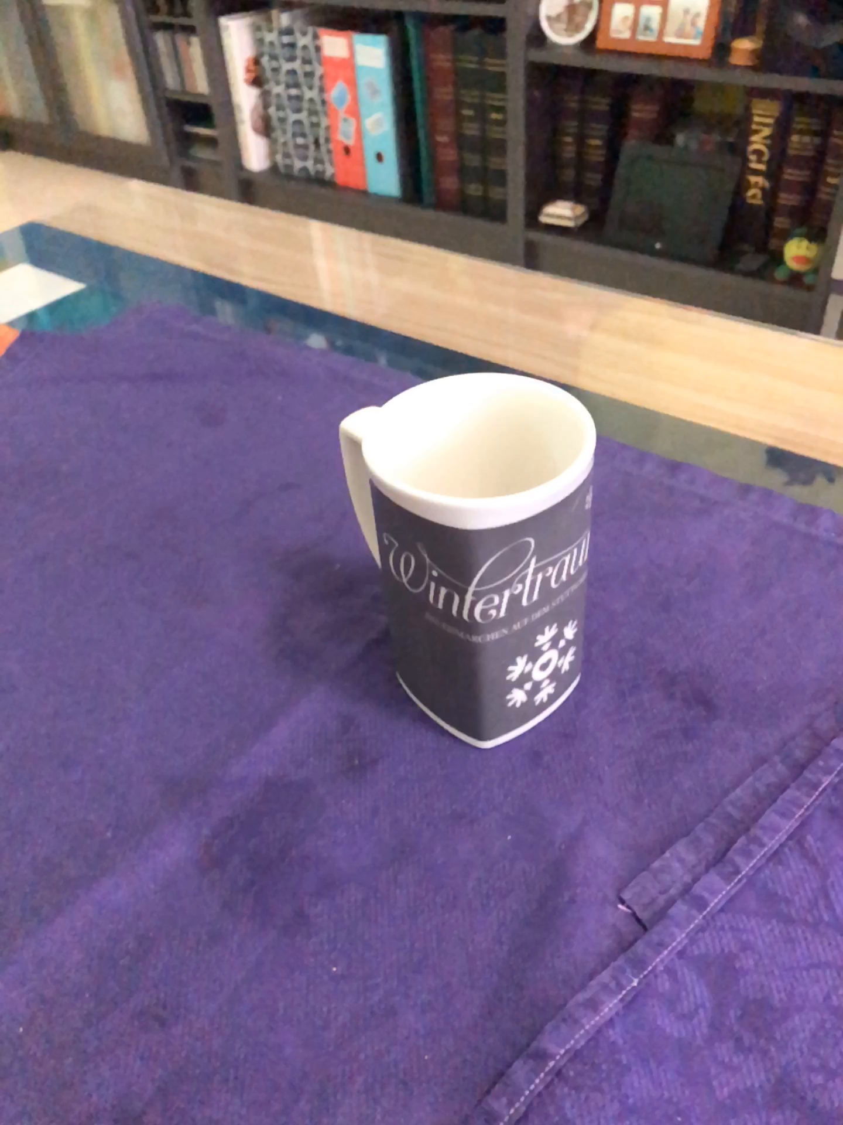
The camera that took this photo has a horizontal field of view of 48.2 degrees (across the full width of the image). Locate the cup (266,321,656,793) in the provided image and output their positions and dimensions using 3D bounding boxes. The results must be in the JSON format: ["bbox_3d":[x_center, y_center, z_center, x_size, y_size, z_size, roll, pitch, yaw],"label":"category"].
[{"bbox_3d":[0.013,-0.005,0.323,0.070,0.110,0.100,-31,46,-27],"label":"cup"}]
